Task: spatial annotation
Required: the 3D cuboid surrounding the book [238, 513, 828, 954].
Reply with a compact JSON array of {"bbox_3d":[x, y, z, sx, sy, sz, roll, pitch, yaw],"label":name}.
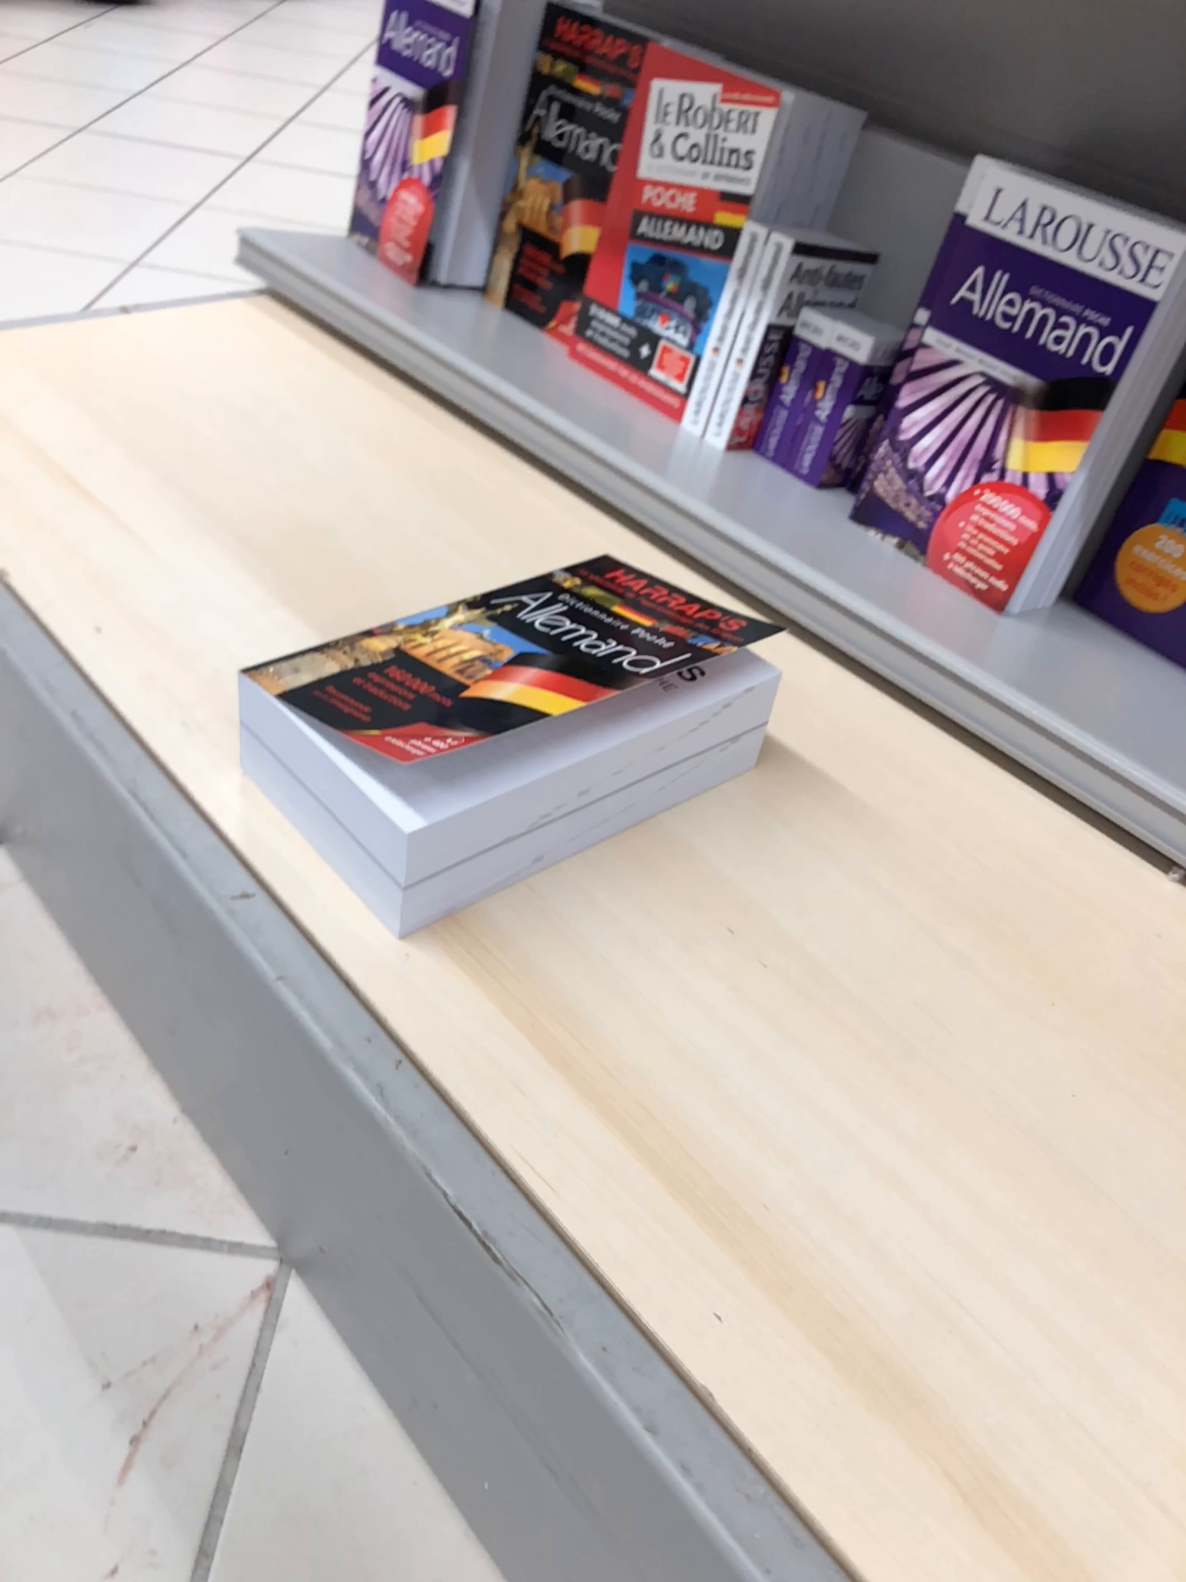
[{"bbox_3d":[-0.021,-0.033,0.496,0.181,0.060,0.122,-24,50,-36],"label":"book"}]
